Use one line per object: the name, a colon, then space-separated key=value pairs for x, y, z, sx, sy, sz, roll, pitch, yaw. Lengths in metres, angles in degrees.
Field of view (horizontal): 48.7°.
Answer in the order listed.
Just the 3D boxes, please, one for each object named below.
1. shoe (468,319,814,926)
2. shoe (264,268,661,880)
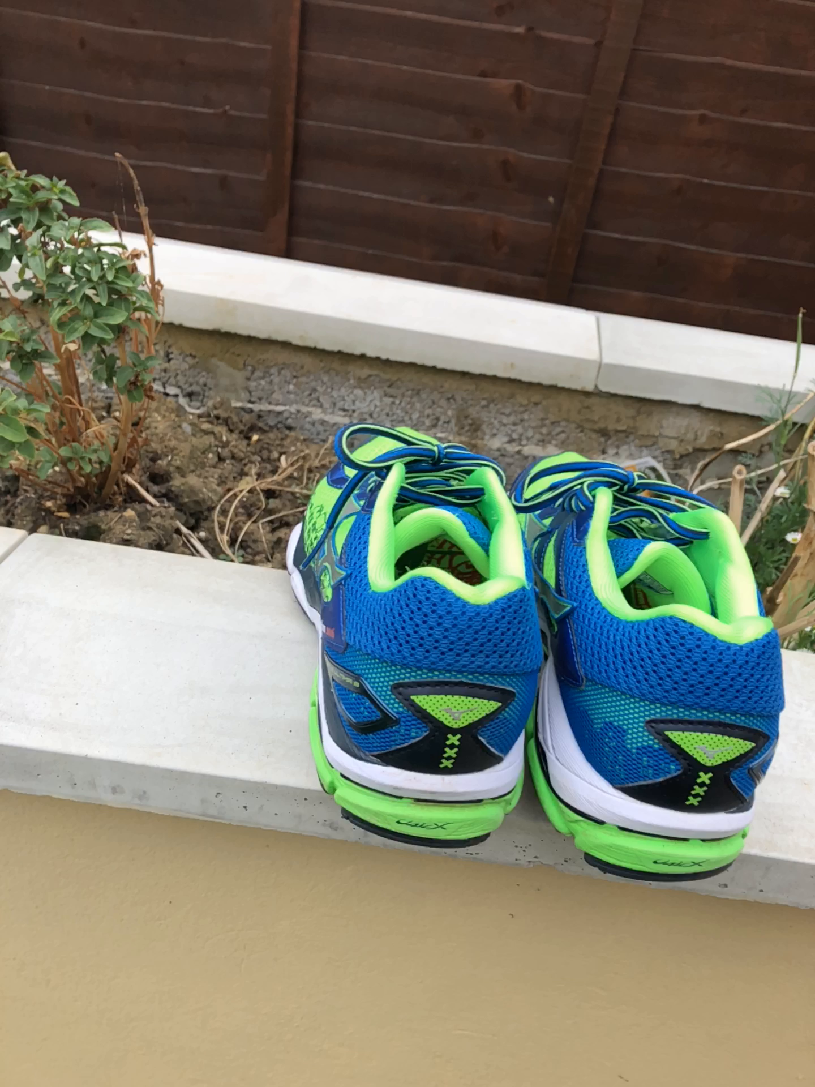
shoe: x=0.097 y=0.005 z=0.418 sx=0.110 sy=0.119 sz=0.292 roll=8 pitch=30 yaw=-3
shoe: x=0.001 y=-0.012 z=0.410 sx=0.110 sy=0.119 sz=0.292 roll=4 pitch=35 yaw=-8
